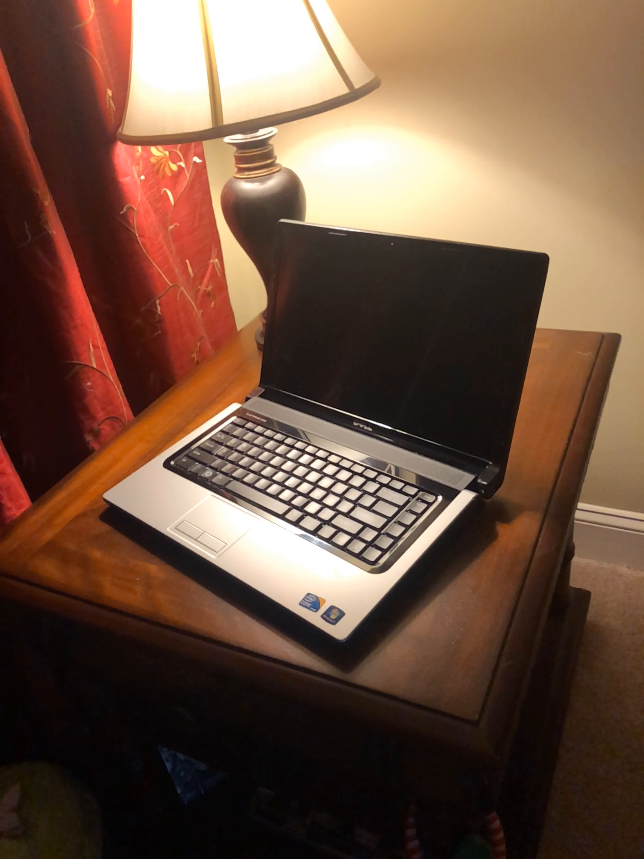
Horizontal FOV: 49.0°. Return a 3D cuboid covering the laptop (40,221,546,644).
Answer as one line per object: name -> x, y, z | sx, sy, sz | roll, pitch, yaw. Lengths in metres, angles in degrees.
laptop -> -0.016, -0.045, 0.740 | 0.363, 0.204, 0.351 | 19, 42, 38
